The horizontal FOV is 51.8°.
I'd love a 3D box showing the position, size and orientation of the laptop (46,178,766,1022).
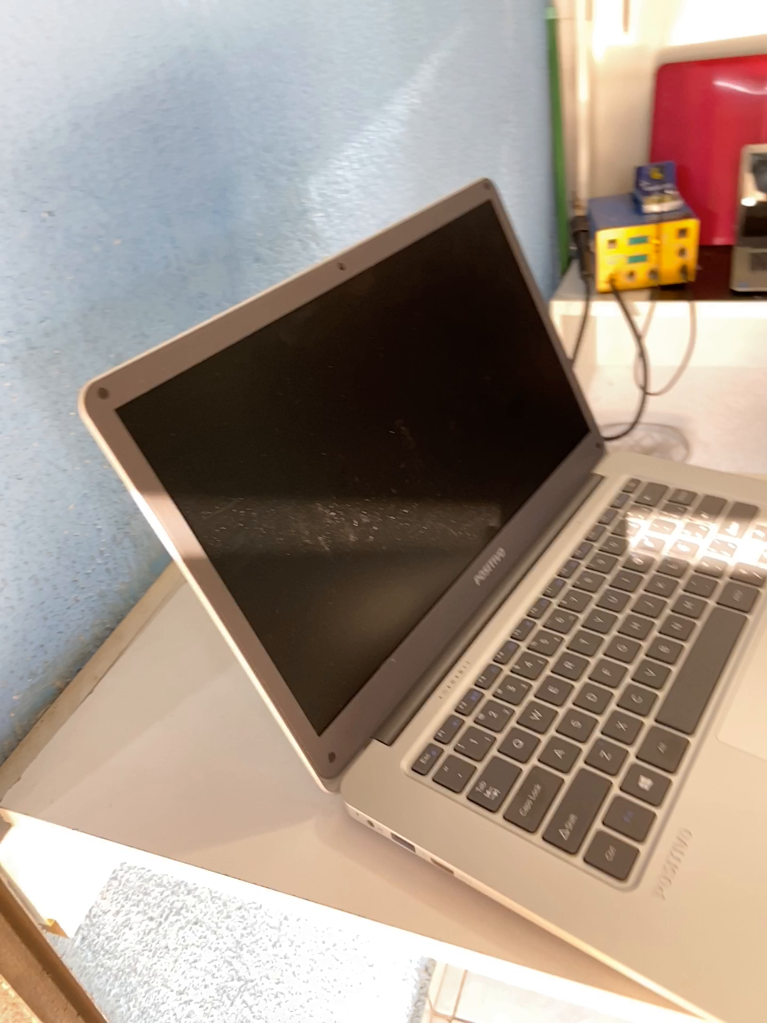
[{"bbox_3d":[0.105,-0.019,0.385,0.311,0.189,0.334,16,41,33],"label":"laptop"}]
